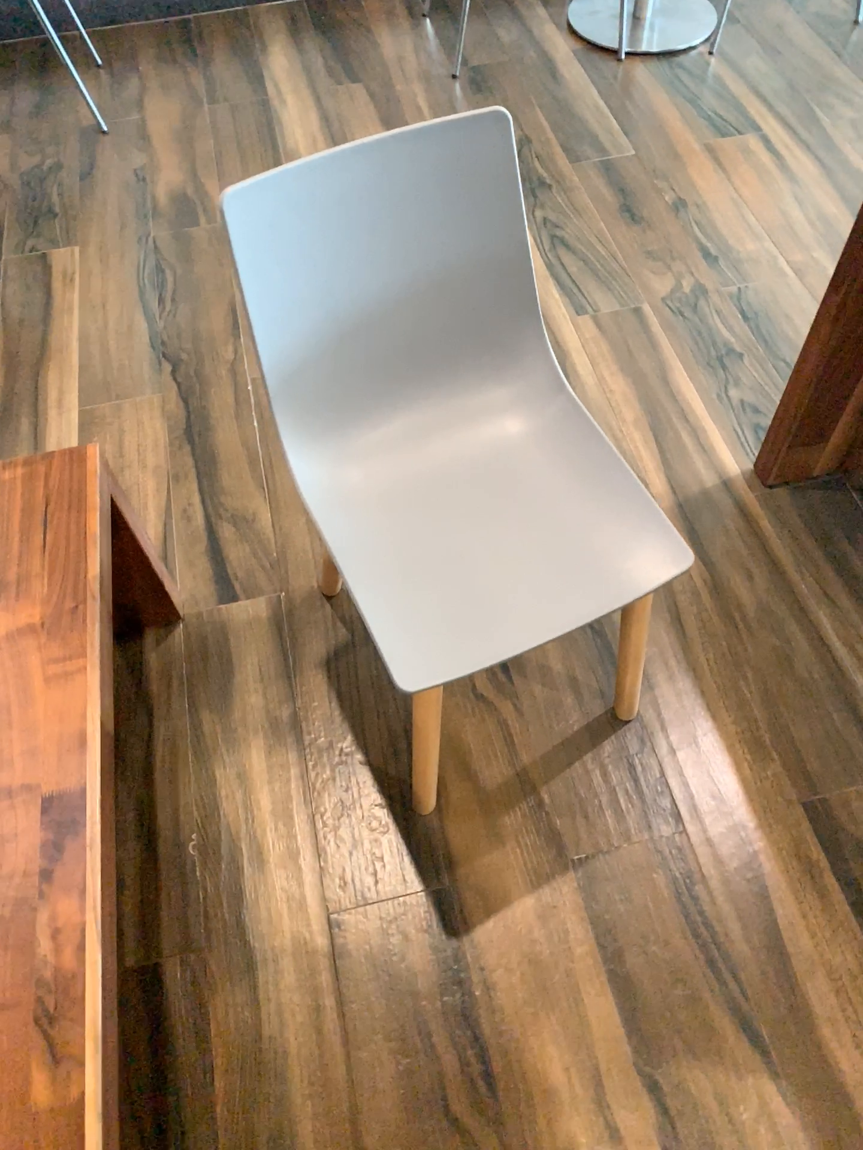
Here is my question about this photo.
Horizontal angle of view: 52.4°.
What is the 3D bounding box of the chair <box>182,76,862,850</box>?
[{"bbox_3d":[0.081,-0.103,1.142,0.500,0.696,0.563,-20,58,-11],"label":"chair"}]
